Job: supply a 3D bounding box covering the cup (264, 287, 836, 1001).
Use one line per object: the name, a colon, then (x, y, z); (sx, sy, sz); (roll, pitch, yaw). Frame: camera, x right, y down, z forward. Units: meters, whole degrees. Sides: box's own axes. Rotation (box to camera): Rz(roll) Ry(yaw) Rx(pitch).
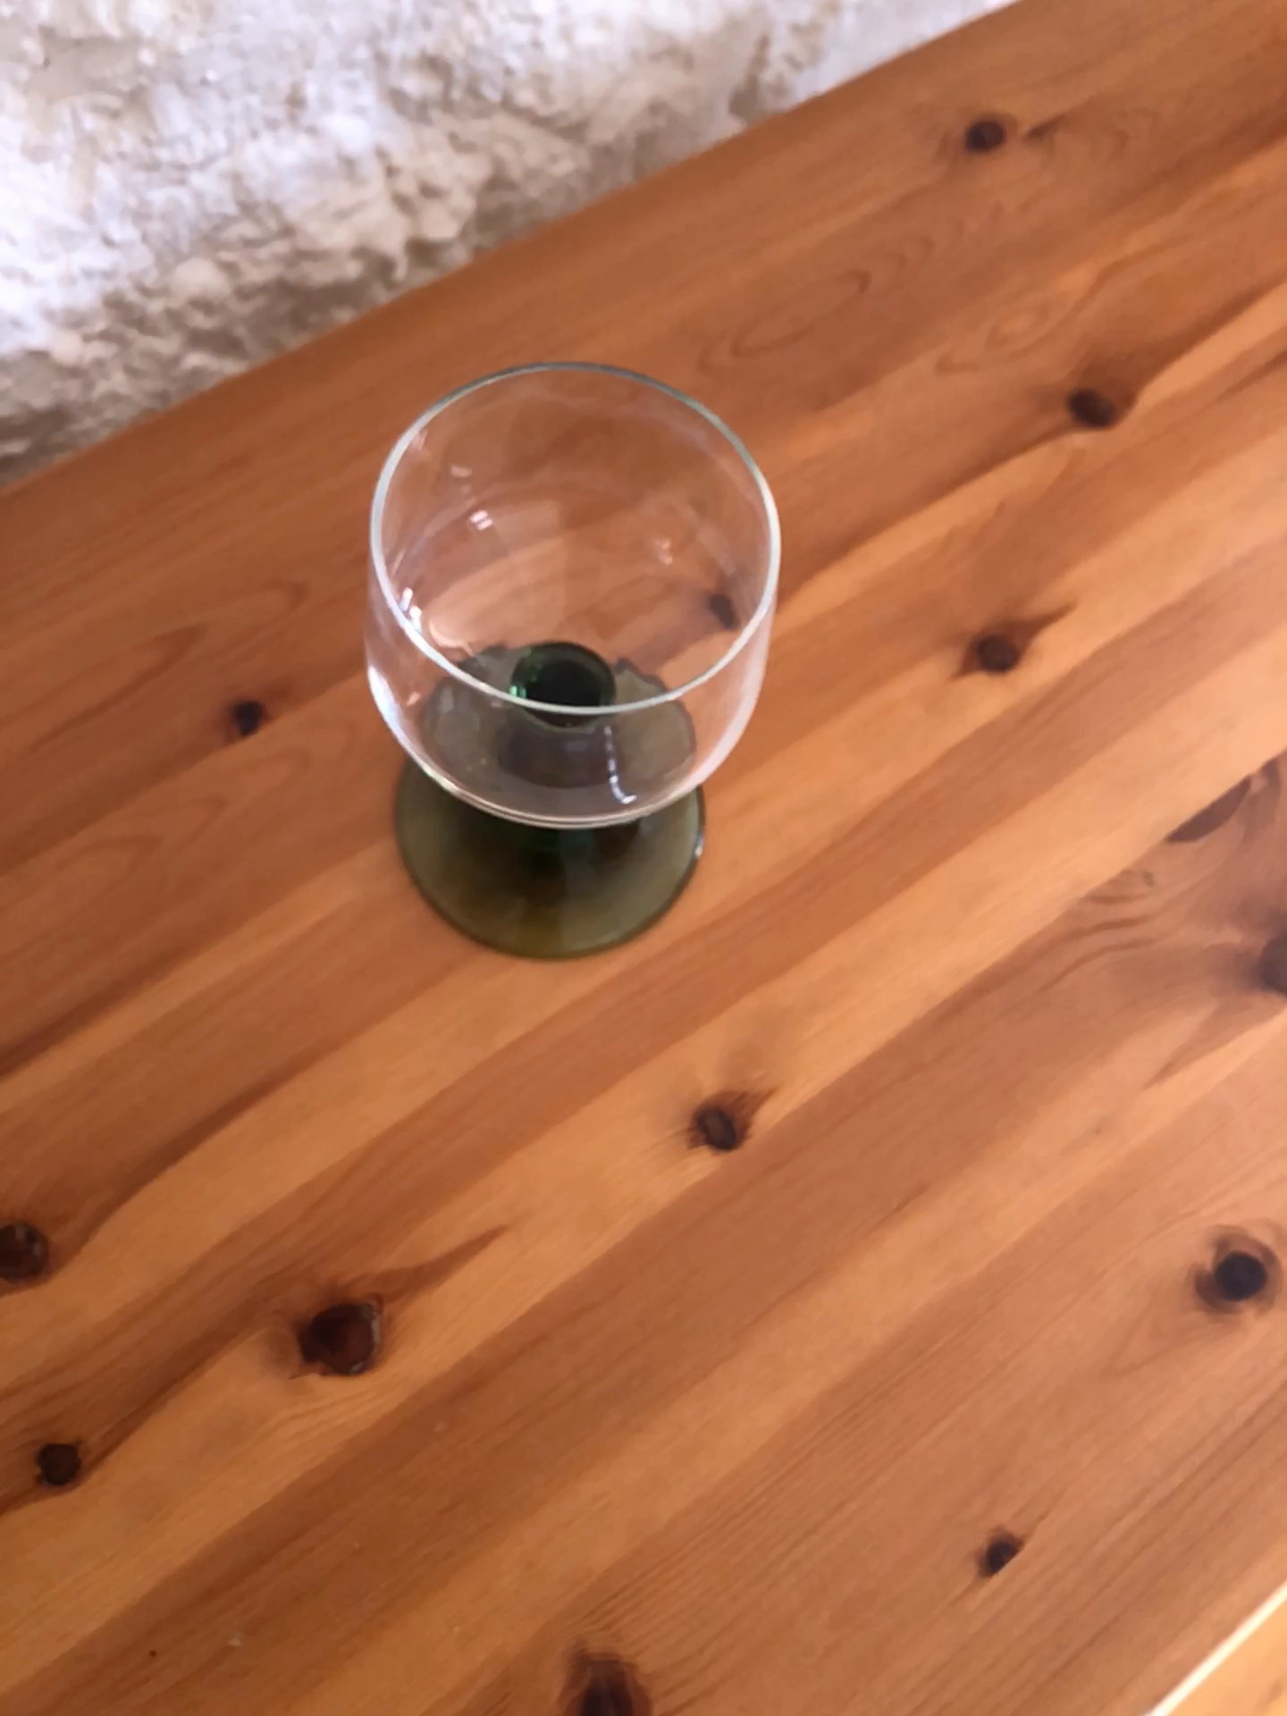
cup: (-0.016, -0.030, 0.261); (0.073, 0.106, 0.074); (2, 68, -5)
